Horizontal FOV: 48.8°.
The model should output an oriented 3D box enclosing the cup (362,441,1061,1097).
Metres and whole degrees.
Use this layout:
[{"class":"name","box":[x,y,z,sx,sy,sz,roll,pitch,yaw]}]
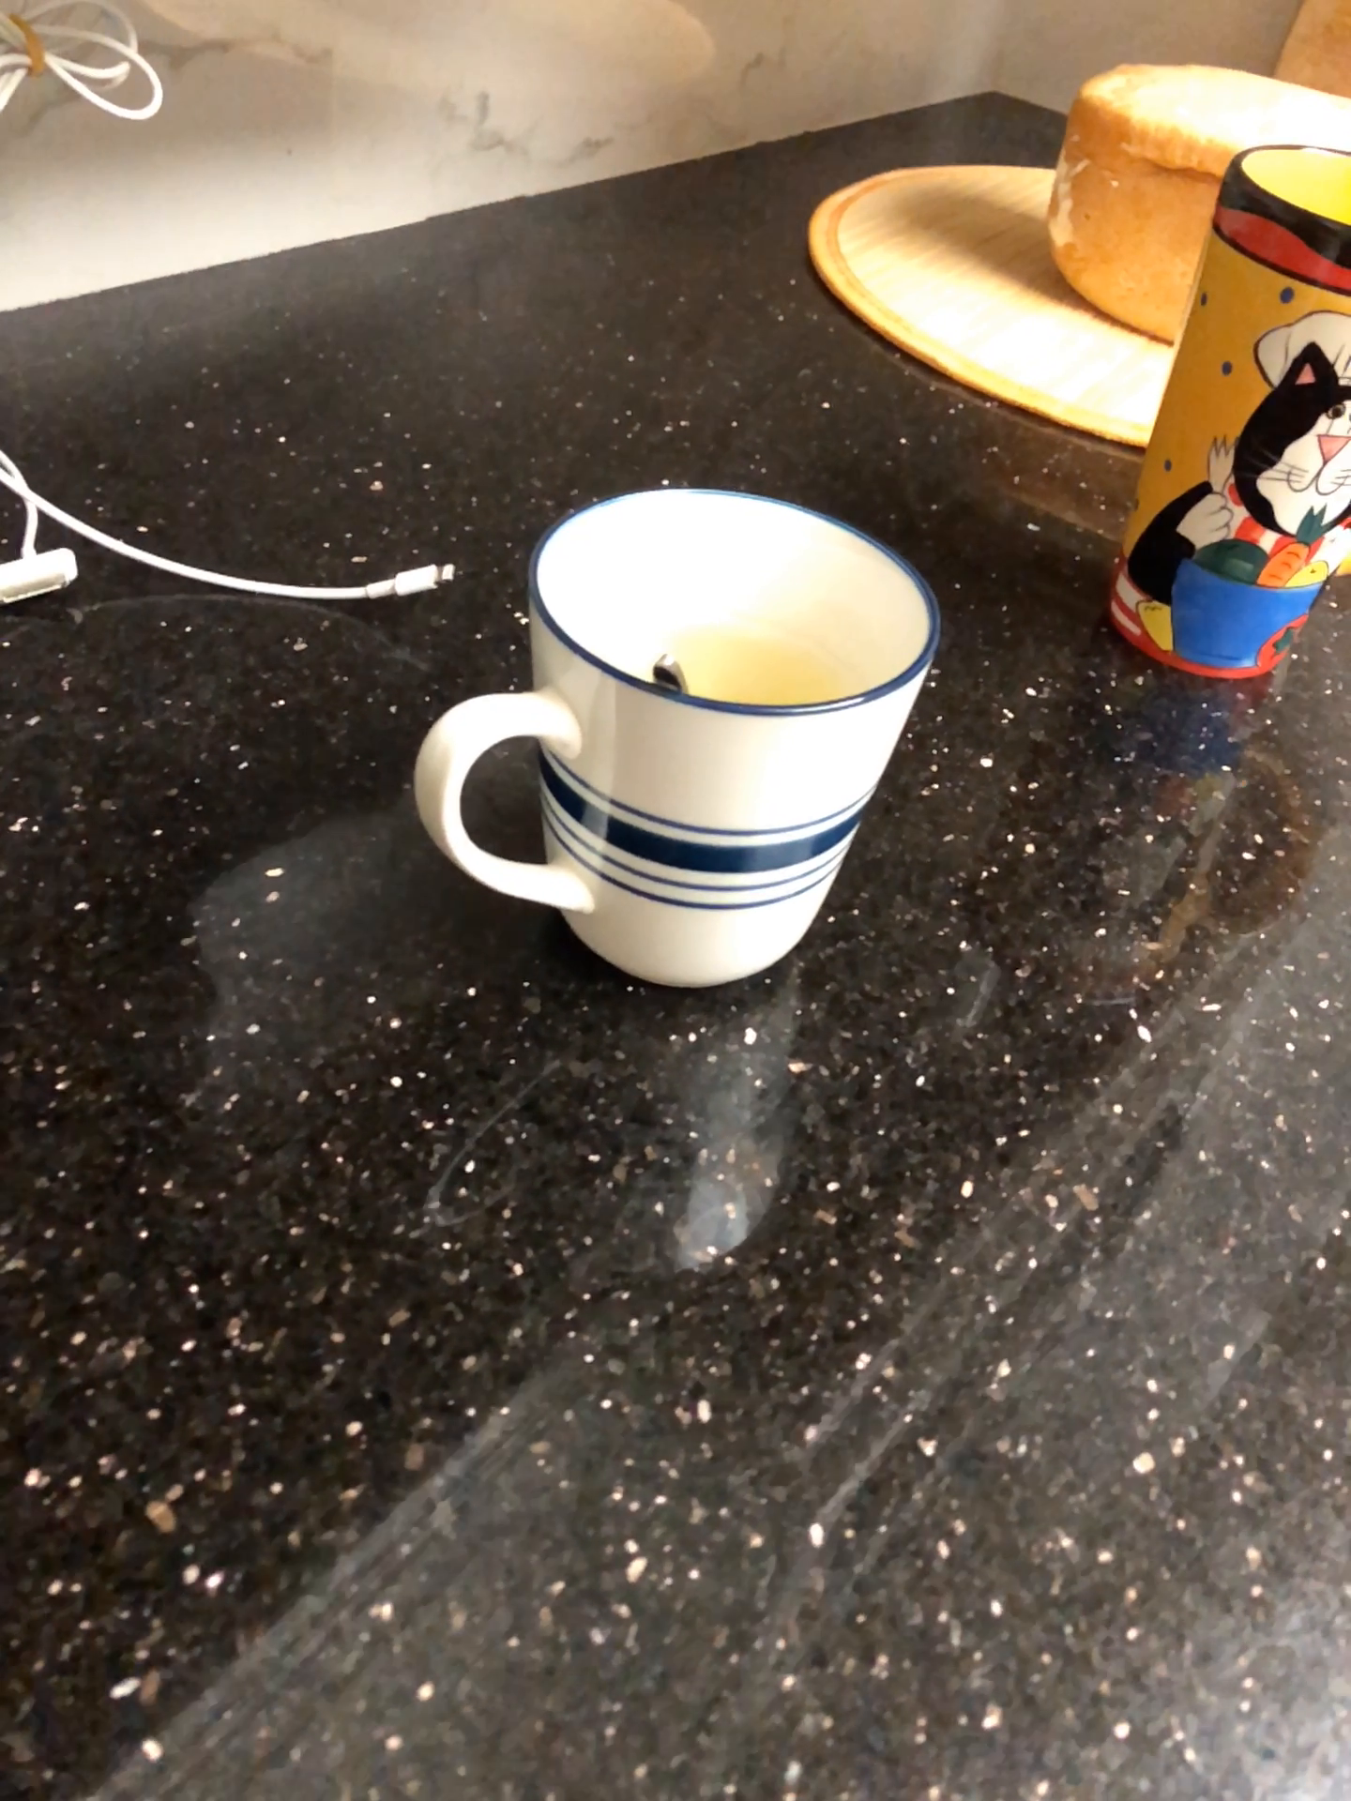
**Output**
[{"class":"cup","box":[0.003,-0.034,0.333,0.120,0.089,0.080,-20,50,-29]}]
